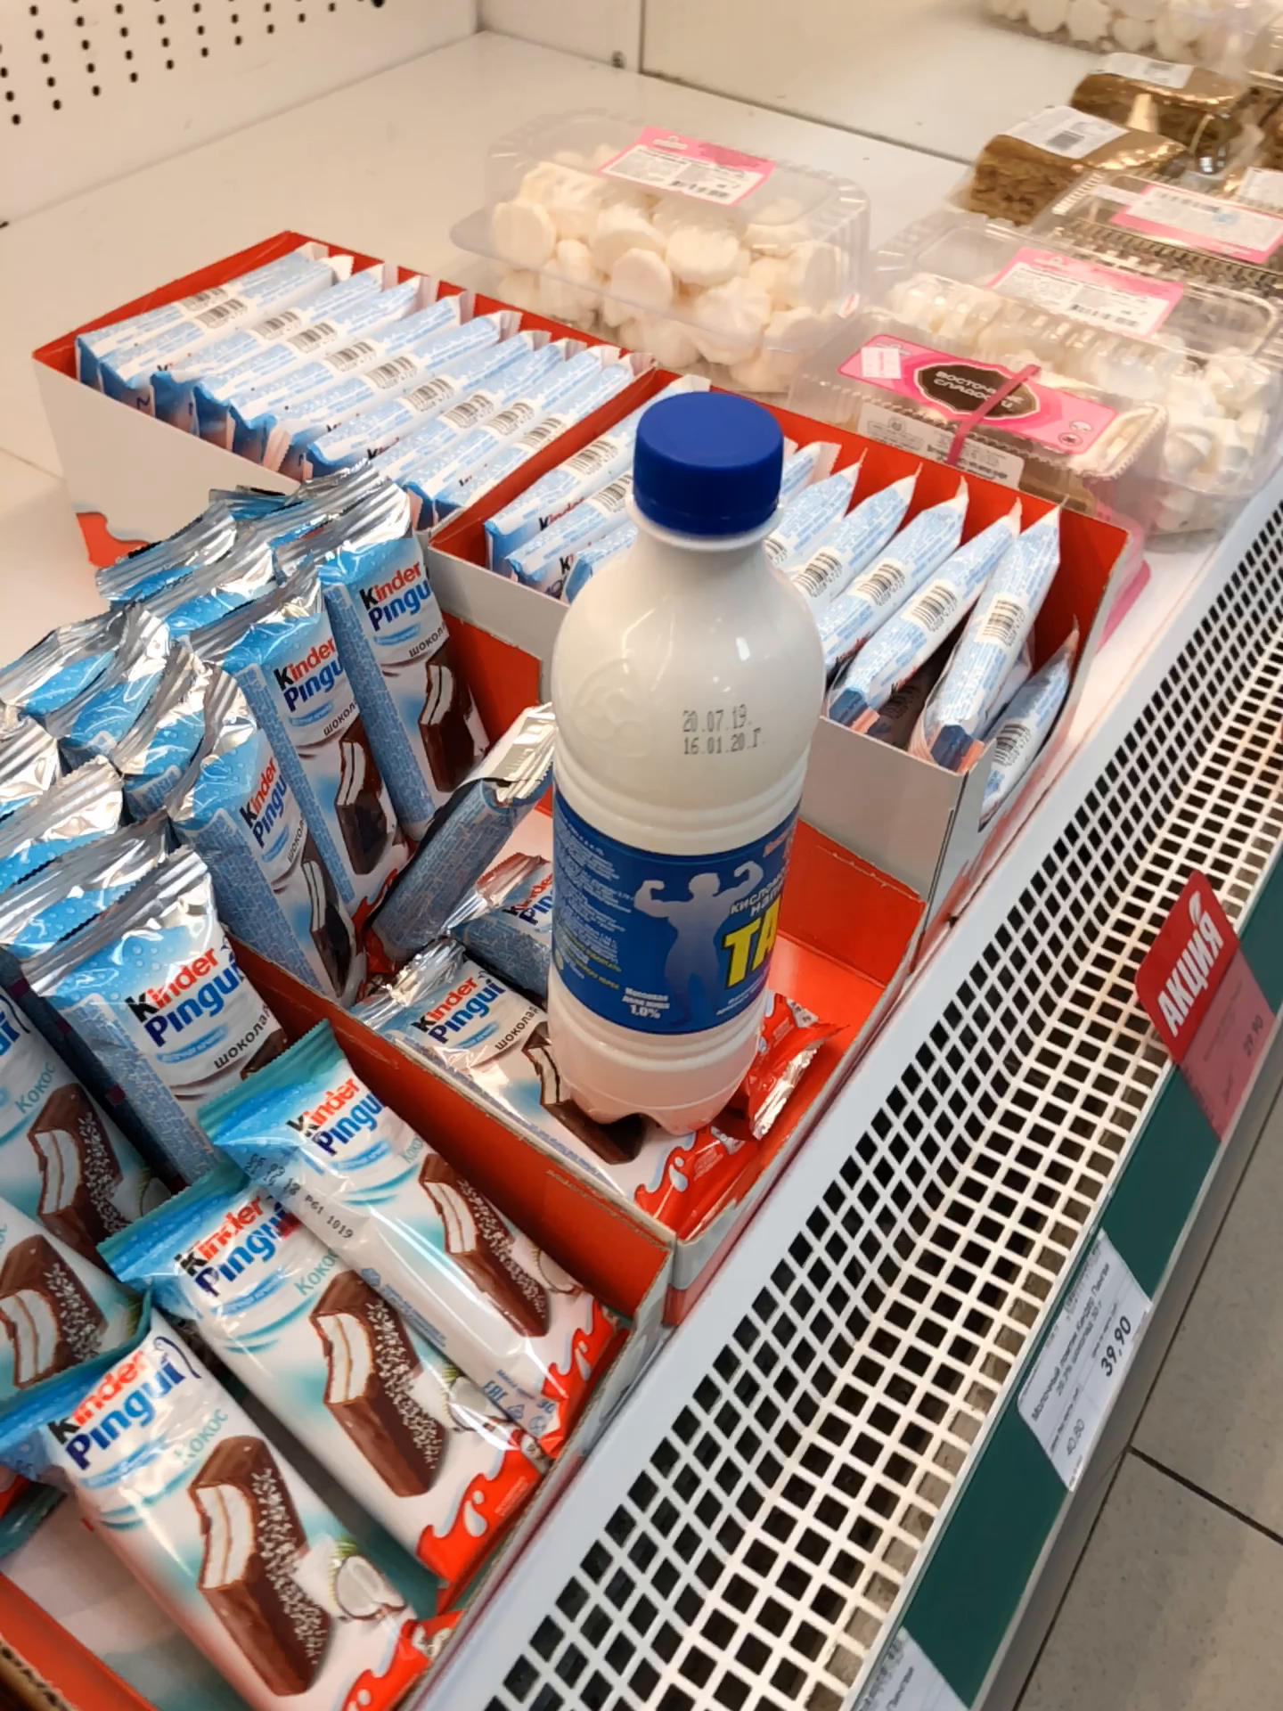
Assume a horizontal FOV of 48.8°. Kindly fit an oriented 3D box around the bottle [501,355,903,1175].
[{"bbox_3d":[0.010,-0.009,0.354,0.059,0.202,0.064,2,47,-2],"label":"bottle"}]
